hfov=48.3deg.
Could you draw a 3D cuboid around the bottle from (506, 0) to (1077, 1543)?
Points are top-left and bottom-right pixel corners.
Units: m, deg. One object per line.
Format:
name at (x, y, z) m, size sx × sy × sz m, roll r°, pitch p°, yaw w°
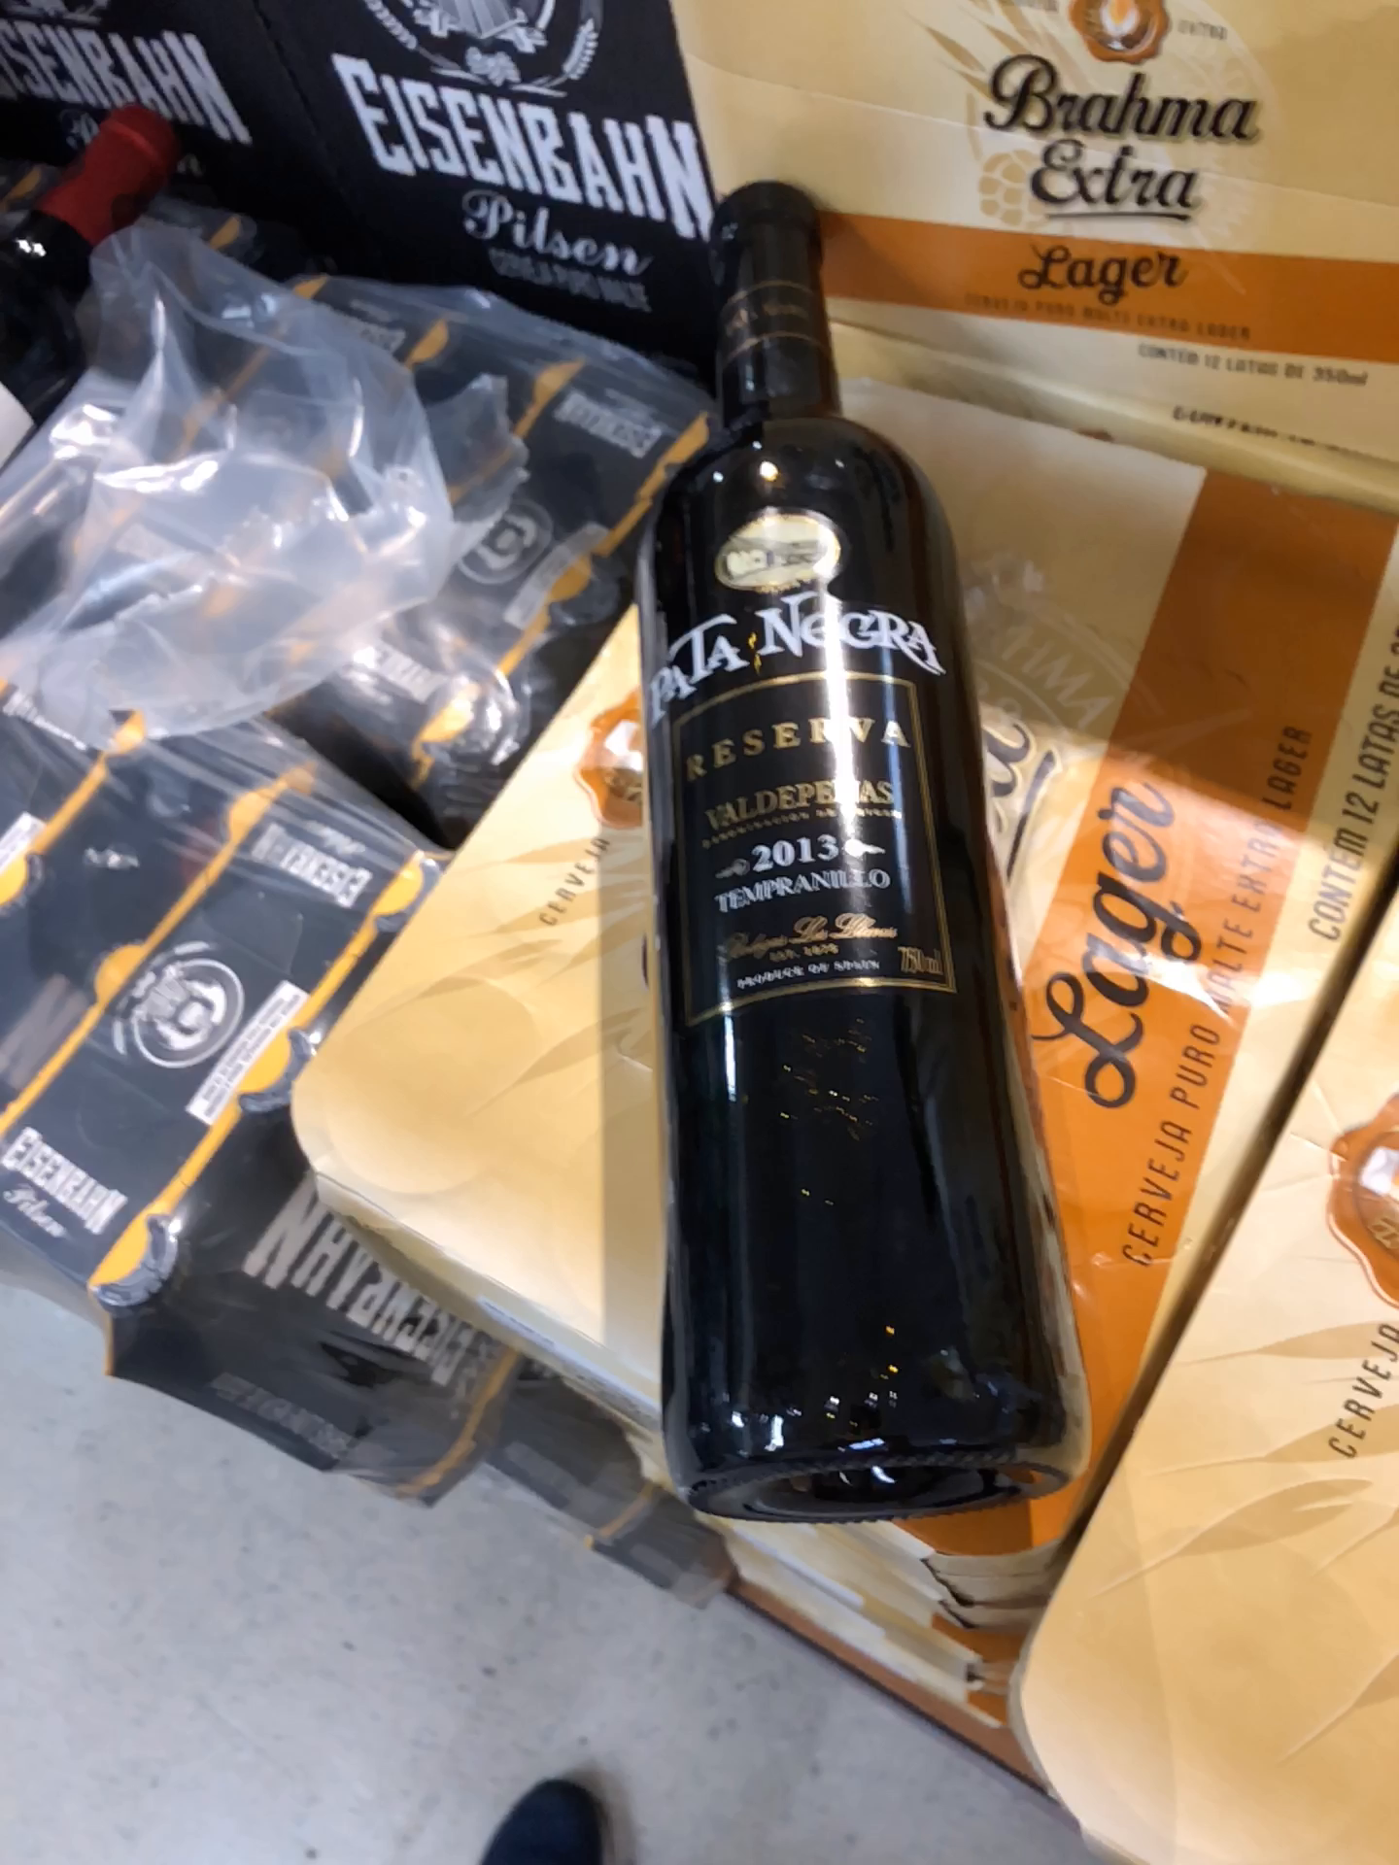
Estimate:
bottle at (0.013, -0.076, 0.344) m, size 0.080 × 0.080 × 0.381 m, roll -8°, pitch 61°, yaw 11°
